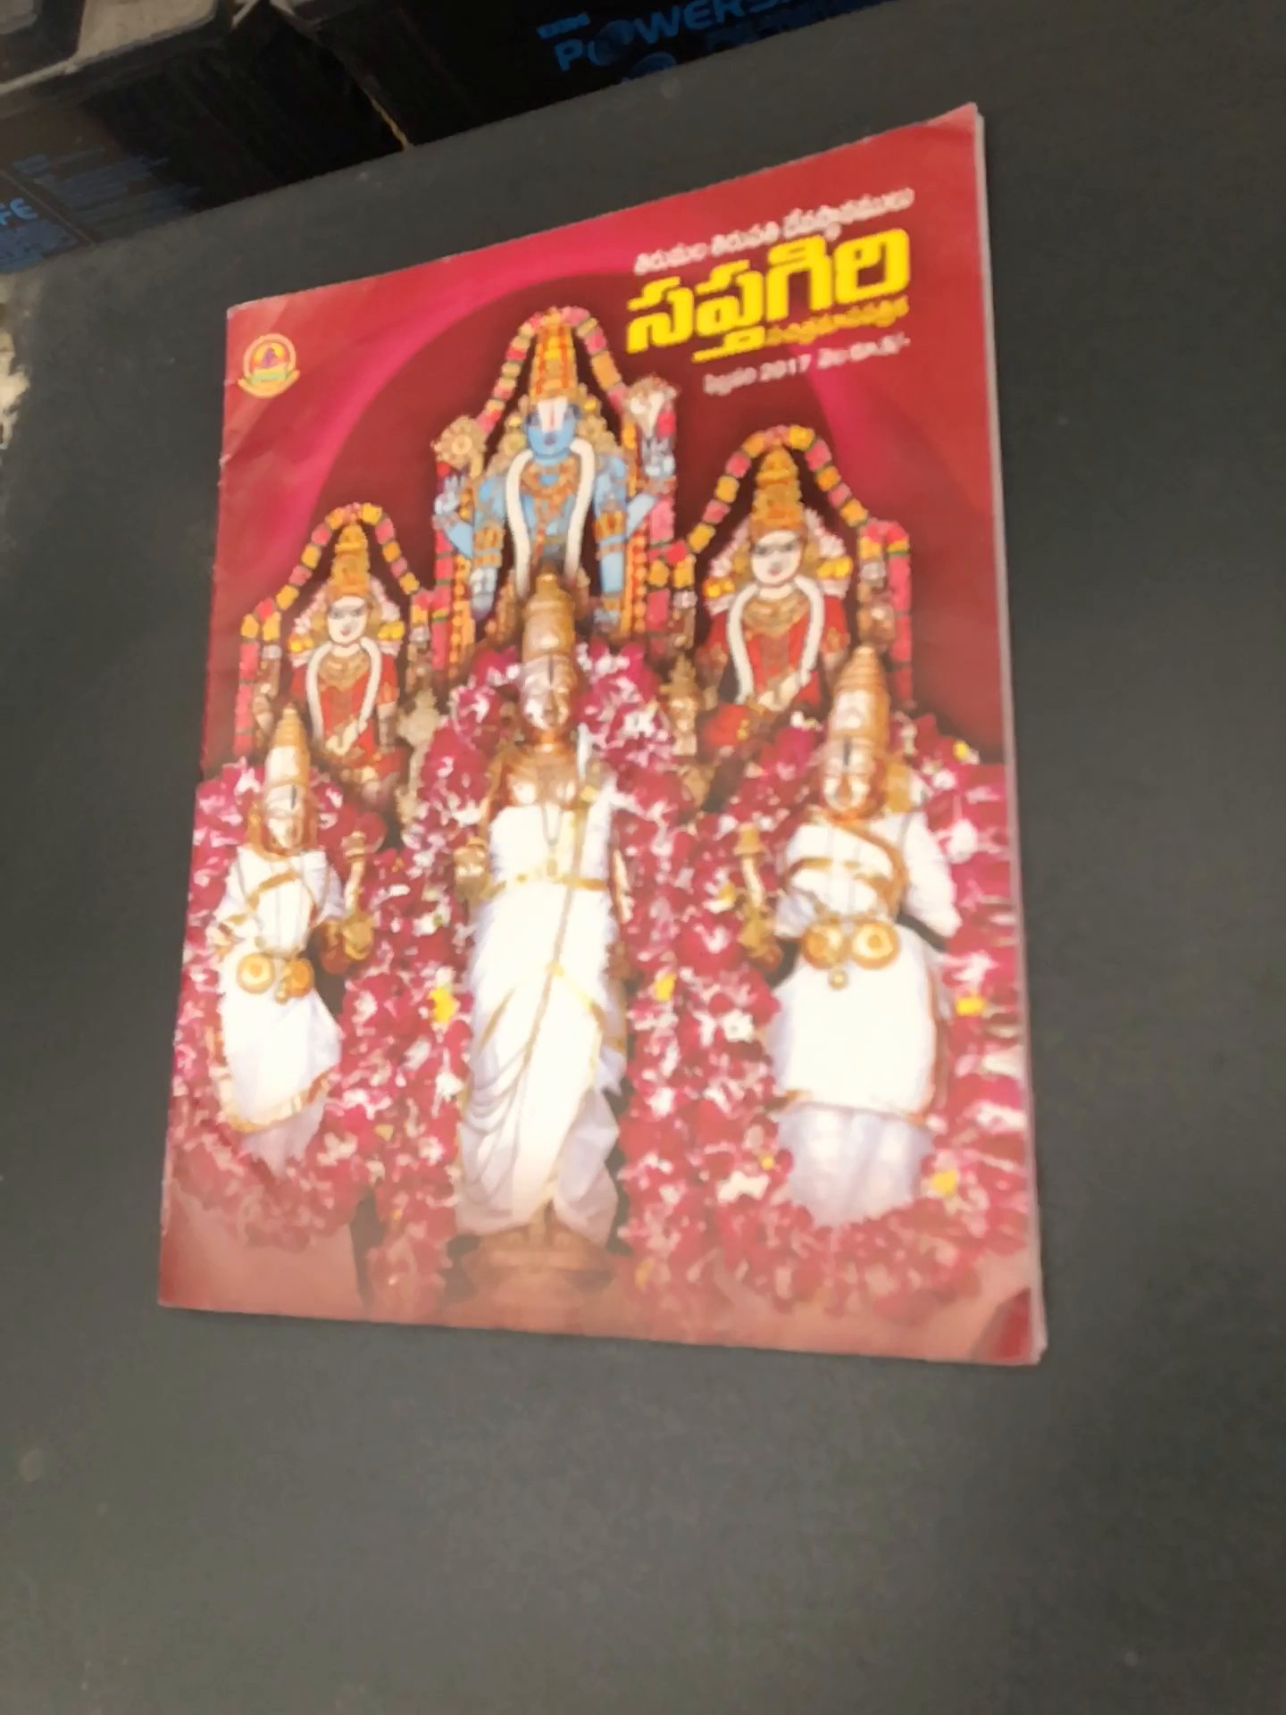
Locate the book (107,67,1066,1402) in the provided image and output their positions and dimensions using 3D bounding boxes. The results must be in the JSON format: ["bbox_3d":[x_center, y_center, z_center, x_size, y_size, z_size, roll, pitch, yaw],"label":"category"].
[{"bbox_3d":[-0.019,-0.026,0.316,0.200,0.030,0.260,-5,75,23],"label":"book"}]
